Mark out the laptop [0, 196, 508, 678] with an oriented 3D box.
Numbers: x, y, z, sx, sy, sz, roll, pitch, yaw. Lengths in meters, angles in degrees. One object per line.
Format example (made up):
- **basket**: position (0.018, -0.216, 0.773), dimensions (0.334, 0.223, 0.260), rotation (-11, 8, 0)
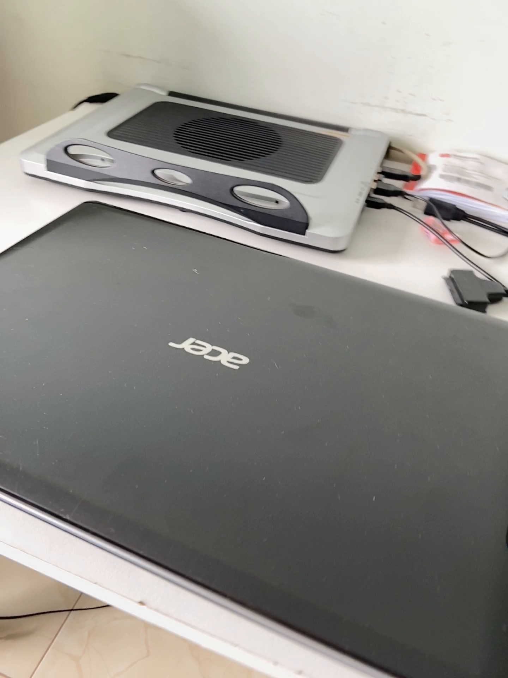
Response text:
- **laptop**: position (-0.023, 0.005, 0.299), dimensions (0.335, 0.005, 0.231), rotation (19, 41, 14)
